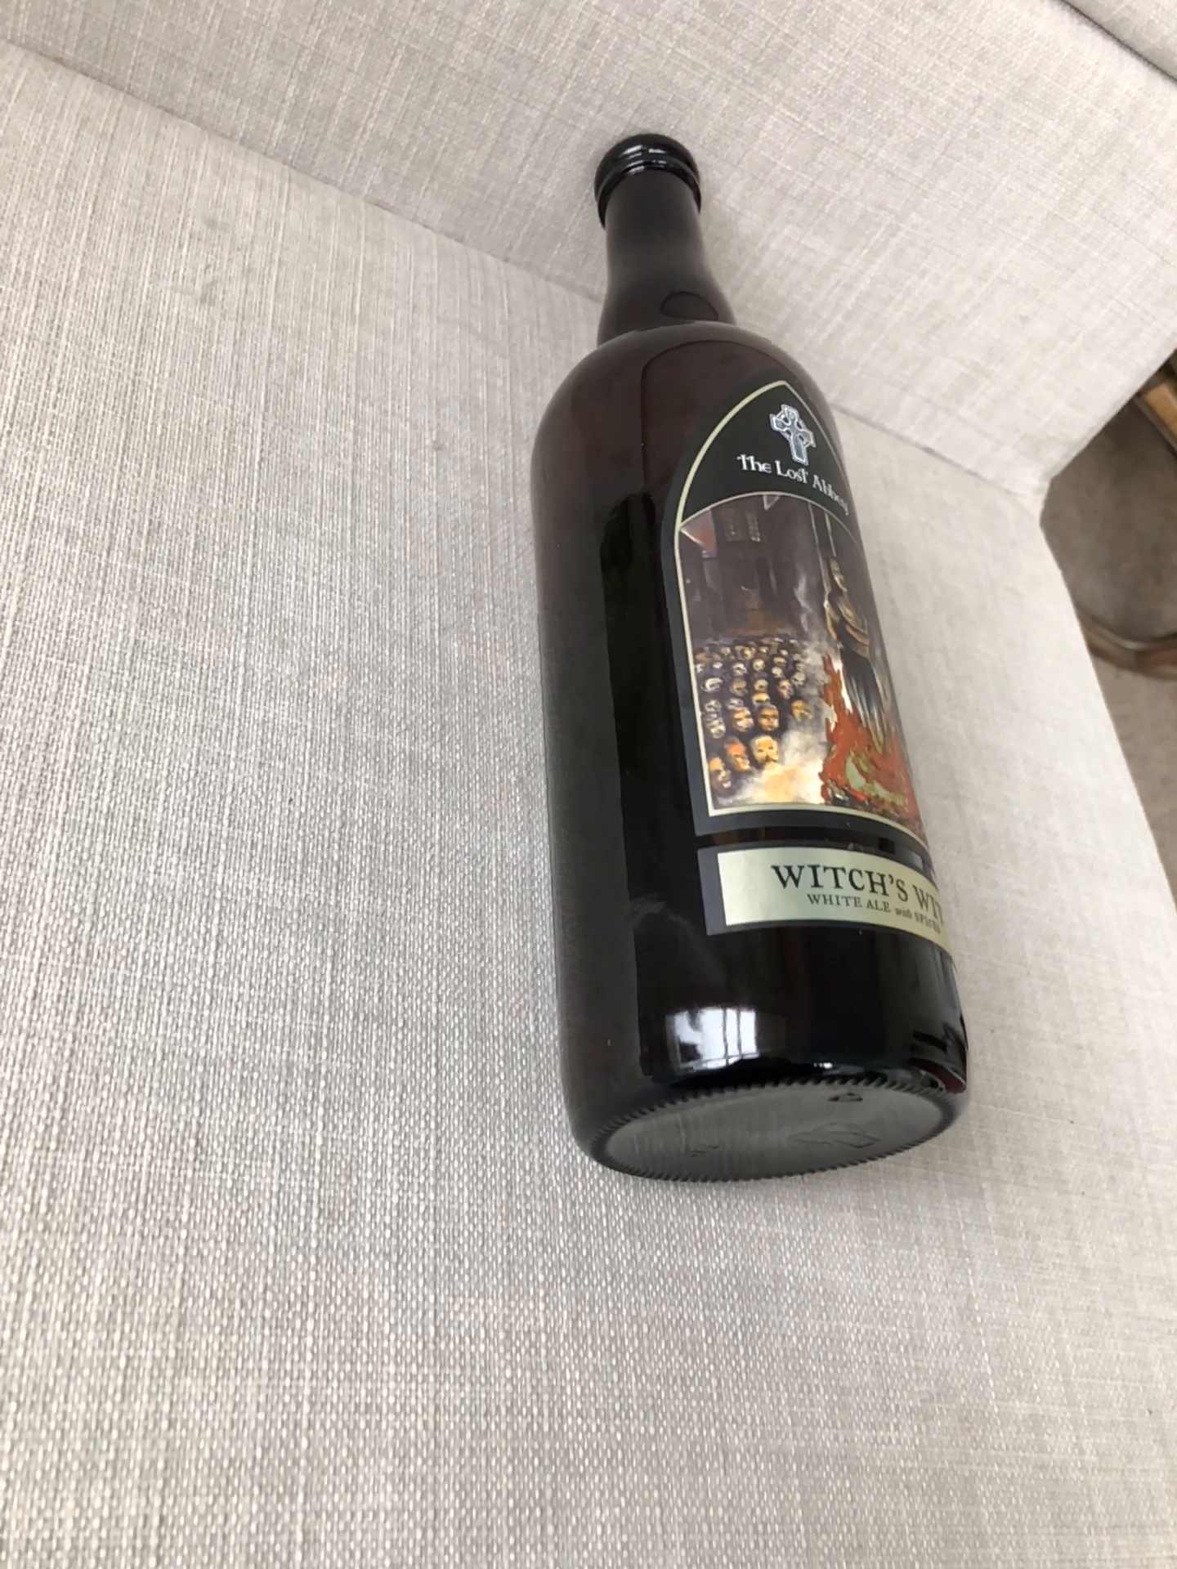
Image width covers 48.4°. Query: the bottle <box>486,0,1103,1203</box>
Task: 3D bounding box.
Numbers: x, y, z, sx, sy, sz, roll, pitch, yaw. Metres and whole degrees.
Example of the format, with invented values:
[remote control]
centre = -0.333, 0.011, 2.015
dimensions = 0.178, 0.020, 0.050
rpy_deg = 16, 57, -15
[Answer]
[bottle]
centre = 0.031, -0.056, 0.308
dimensions = 0.080, 0.079, 0.281
rpy_deg = 14, 57, -29
